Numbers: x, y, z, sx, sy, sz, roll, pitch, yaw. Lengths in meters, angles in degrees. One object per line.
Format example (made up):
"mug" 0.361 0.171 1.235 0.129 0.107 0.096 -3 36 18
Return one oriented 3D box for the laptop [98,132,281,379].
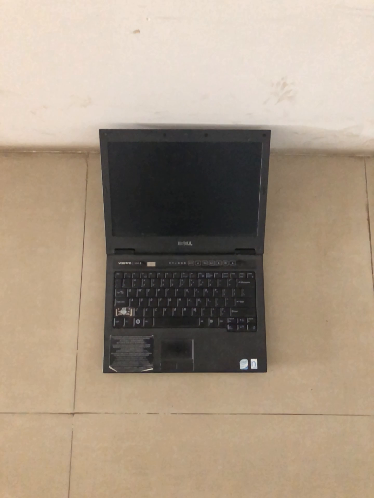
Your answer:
"laptop" 0.003 0.010 0.766 0.299 0.114 0.432 0 79 1
